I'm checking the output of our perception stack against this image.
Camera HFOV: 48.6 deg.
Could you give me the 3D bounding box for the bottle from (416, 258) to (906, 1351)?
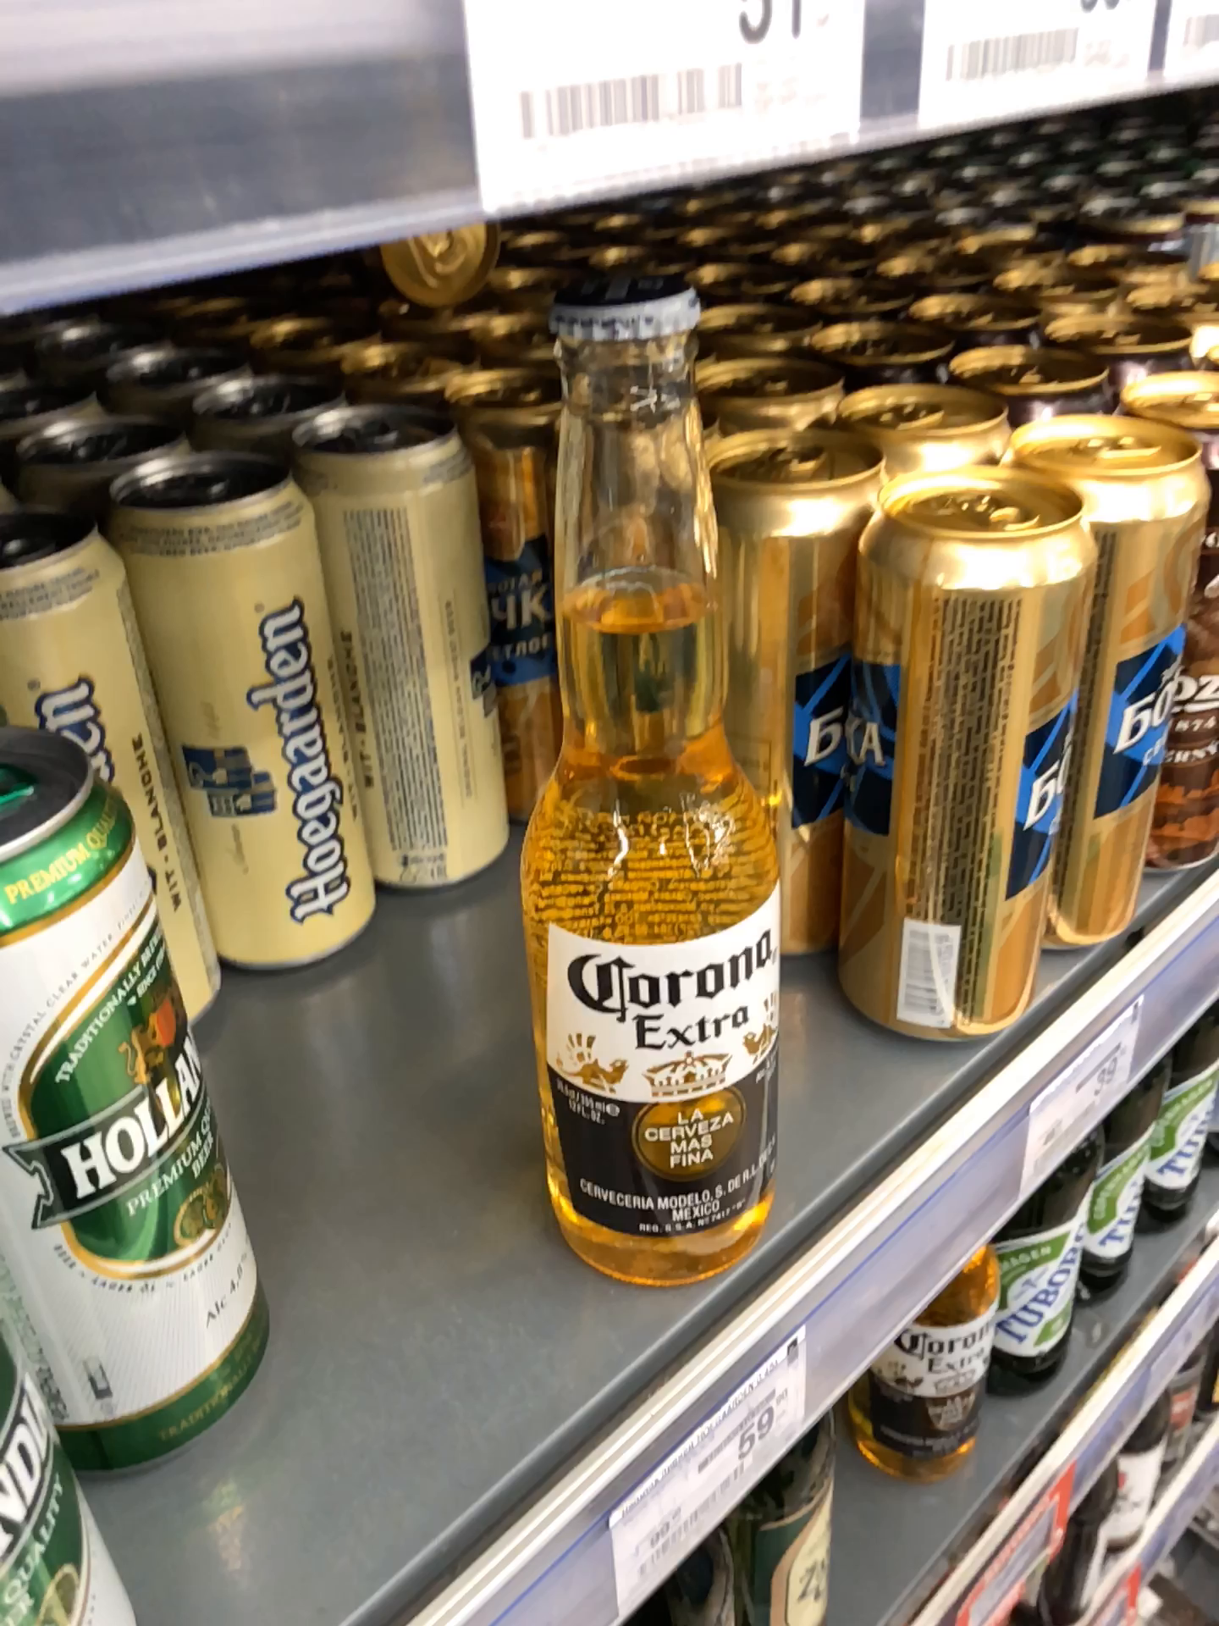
[{"bbox_3d":[0.011,0.010,0.303,0.070,0.237,0.060,-13,34,-15],"label":"bottle"}]
